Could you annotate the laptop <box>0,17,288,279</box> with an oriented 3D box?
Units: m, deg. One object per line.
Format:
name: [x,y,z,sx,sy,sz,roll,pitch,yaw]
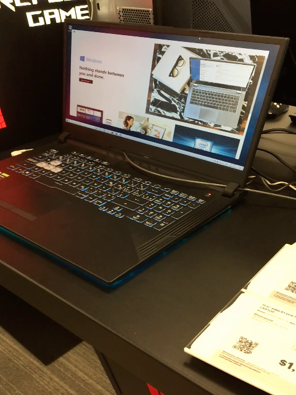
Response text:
laptop: [-0.093,-0.117,0.598,0.398,0.233,0.339,24,44,33]
